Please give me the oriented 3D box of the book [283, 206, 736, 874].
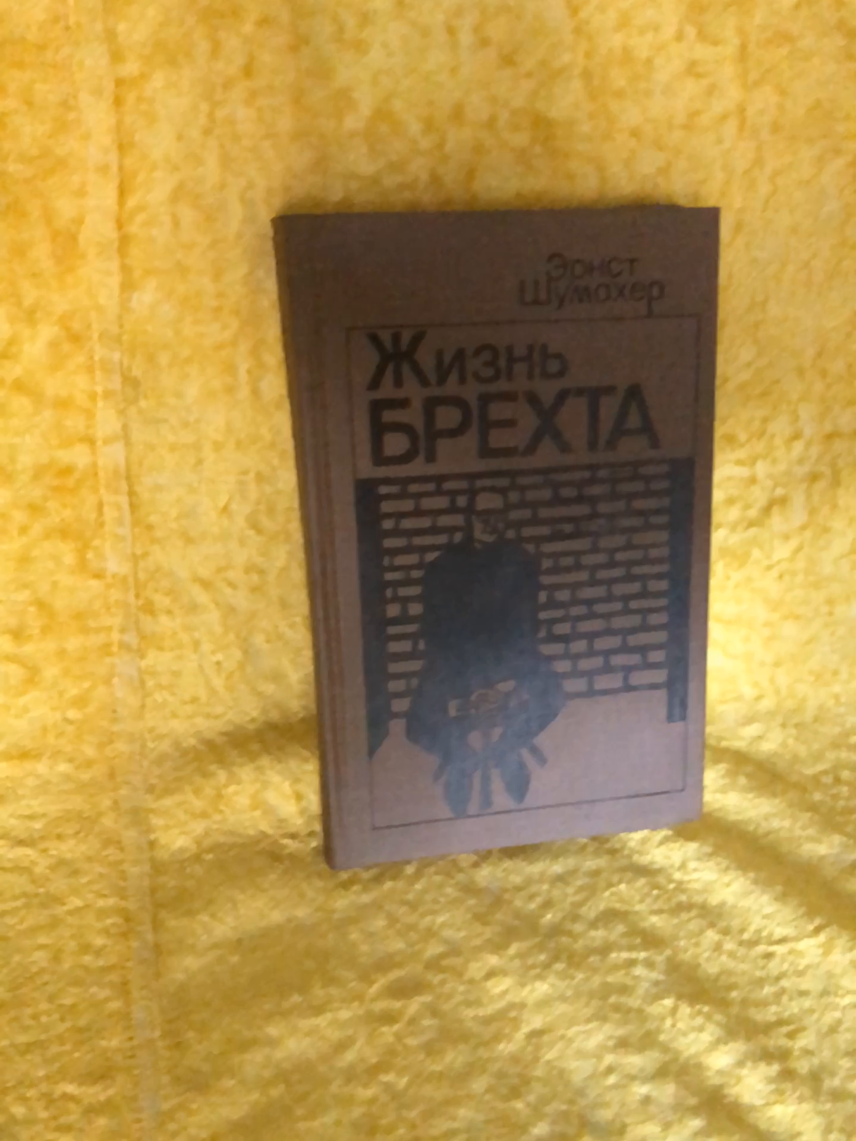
[{"bbox_3d":[0.026,-0.009,0.306,0.130,0.200,0.033,-4,14,-11],"label":"book"}]
